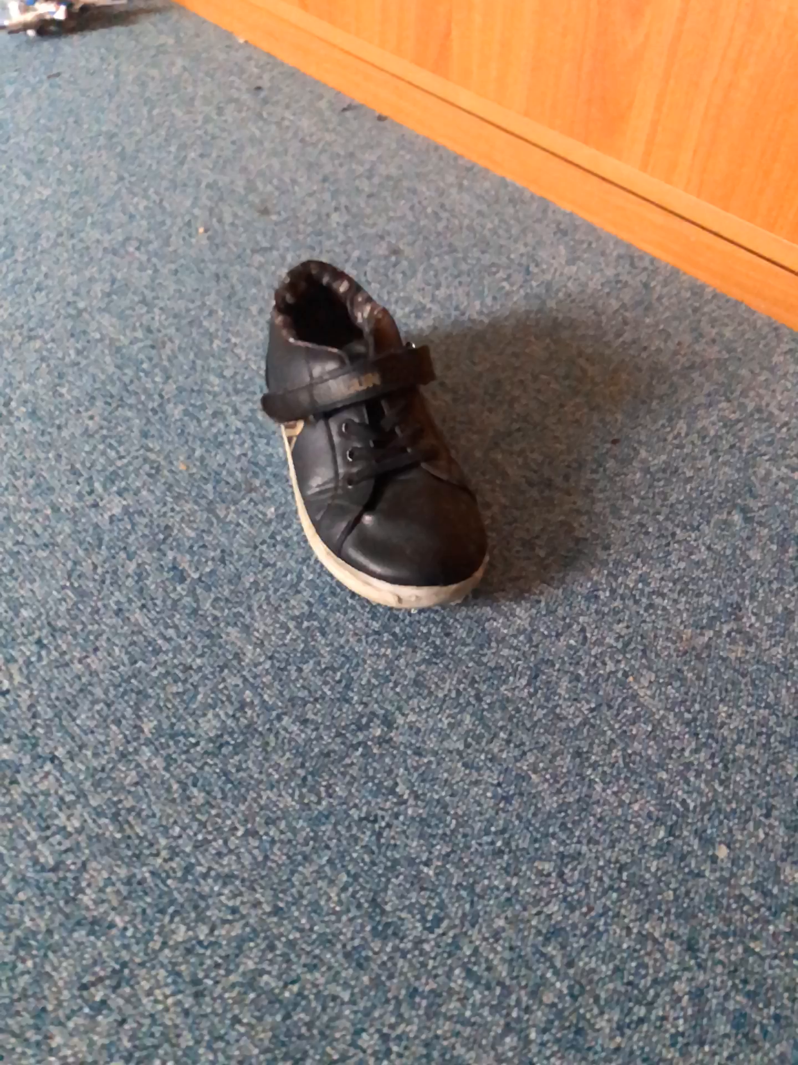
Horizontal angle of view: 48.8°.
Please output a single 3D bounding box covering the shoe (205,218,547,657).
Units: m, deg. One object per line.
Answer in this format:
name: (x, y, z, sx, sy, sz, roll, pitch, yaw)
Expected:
shoe: (-0.025, -0.064, 0.480, 0.110, 0.090, 0.231, -13, 51, -13)
